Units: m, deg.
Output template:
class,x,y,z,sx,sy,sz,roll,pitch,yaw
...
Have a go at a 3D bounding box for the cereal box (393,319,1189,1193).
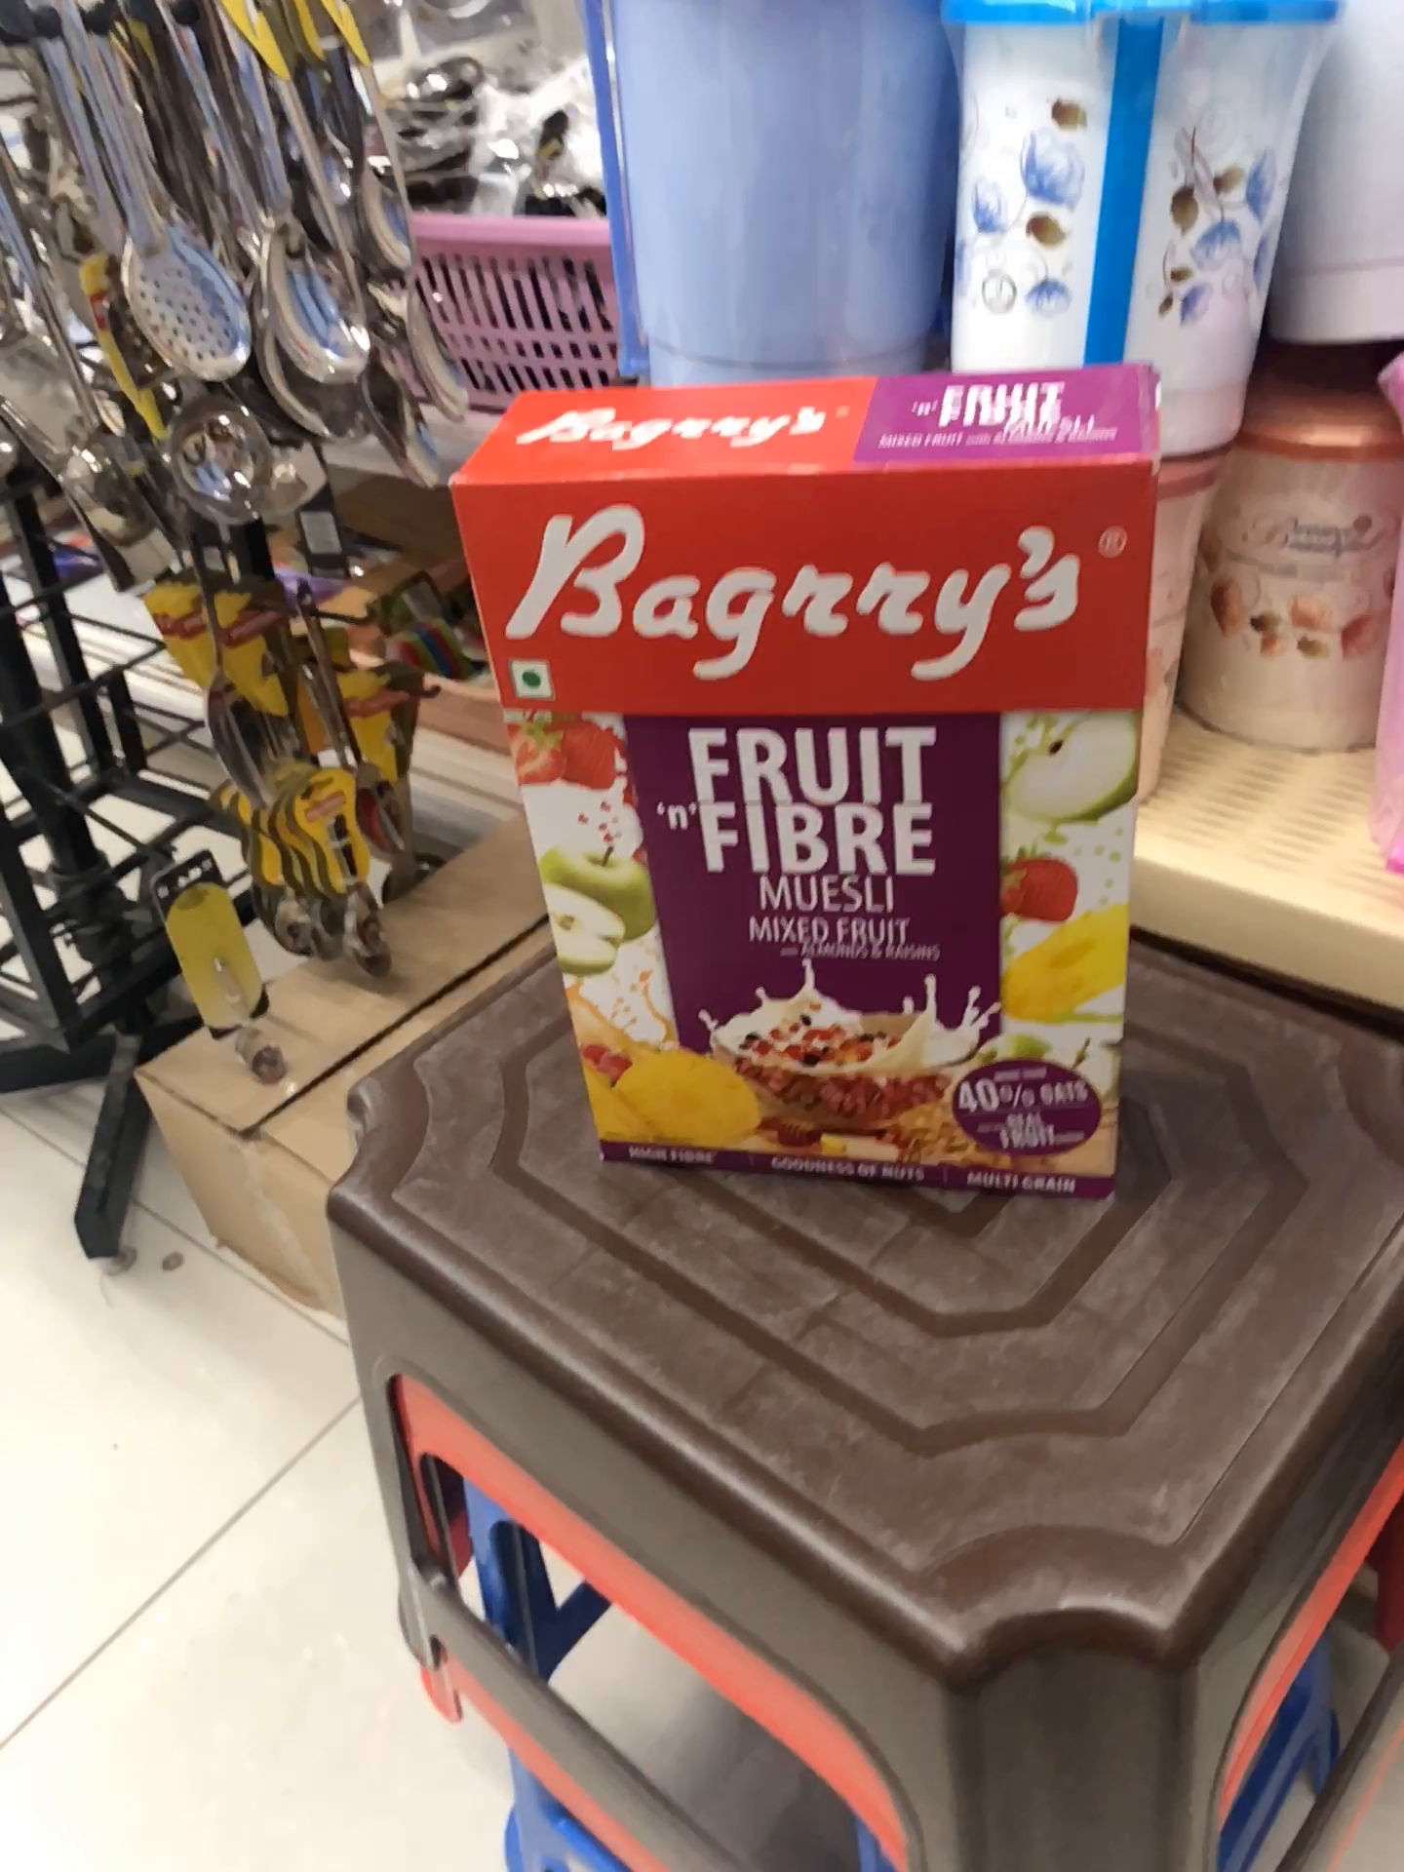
class,x,y,z,sx,sy,sz,roll,pitch,yaw
cereal box,0.039,-0.043,0.487,0.200,0.259,0.070,2,38,15
